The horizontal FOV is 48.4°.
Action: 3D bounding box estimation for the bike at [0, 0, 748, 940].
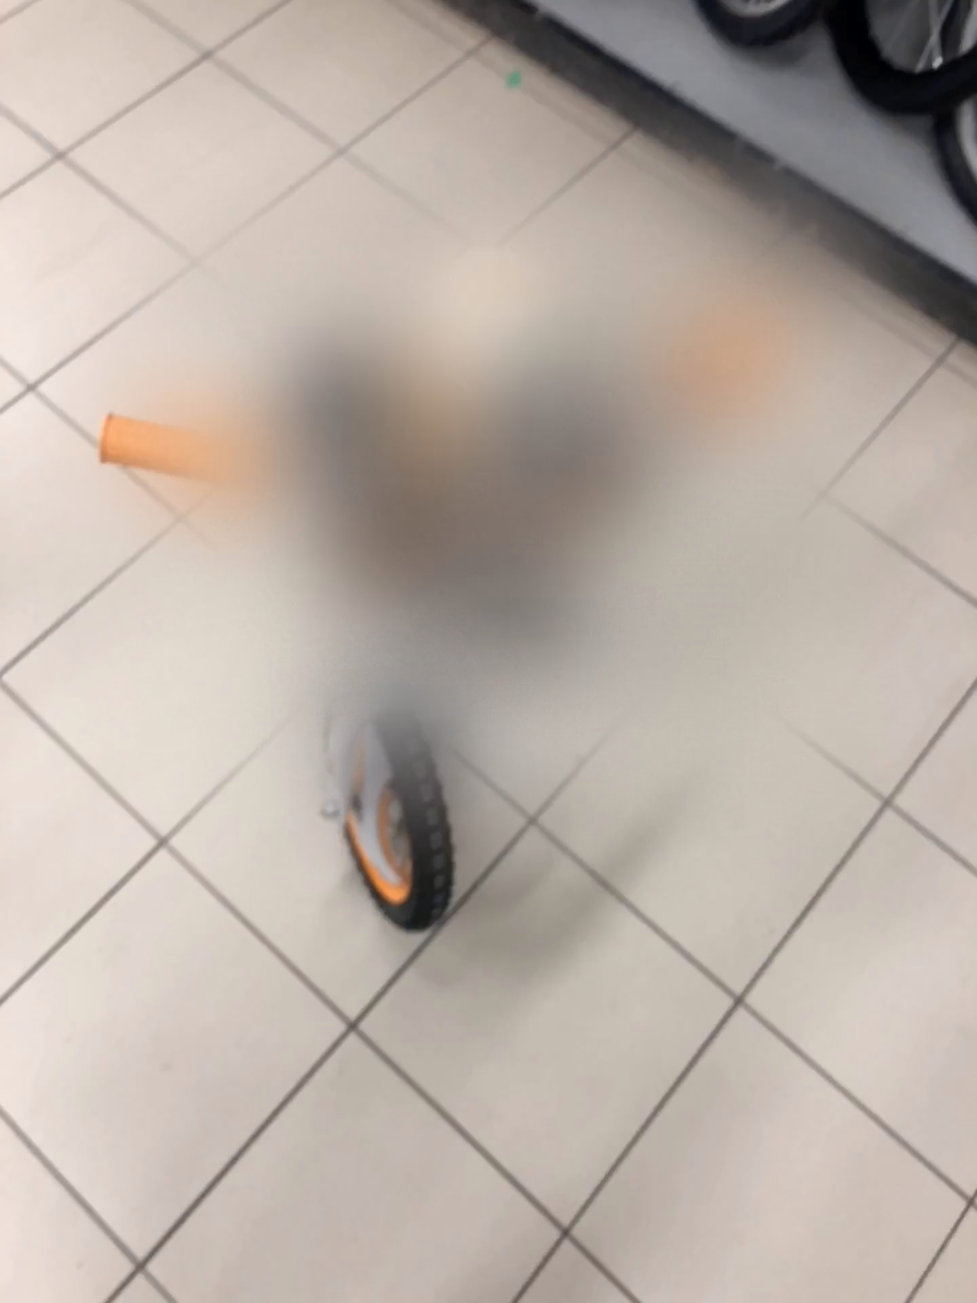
[{"bbox_3d":[-0.059,-0.187,1.076,0.435,0.716,0.816,5,68,0],"label":"bike"}]
